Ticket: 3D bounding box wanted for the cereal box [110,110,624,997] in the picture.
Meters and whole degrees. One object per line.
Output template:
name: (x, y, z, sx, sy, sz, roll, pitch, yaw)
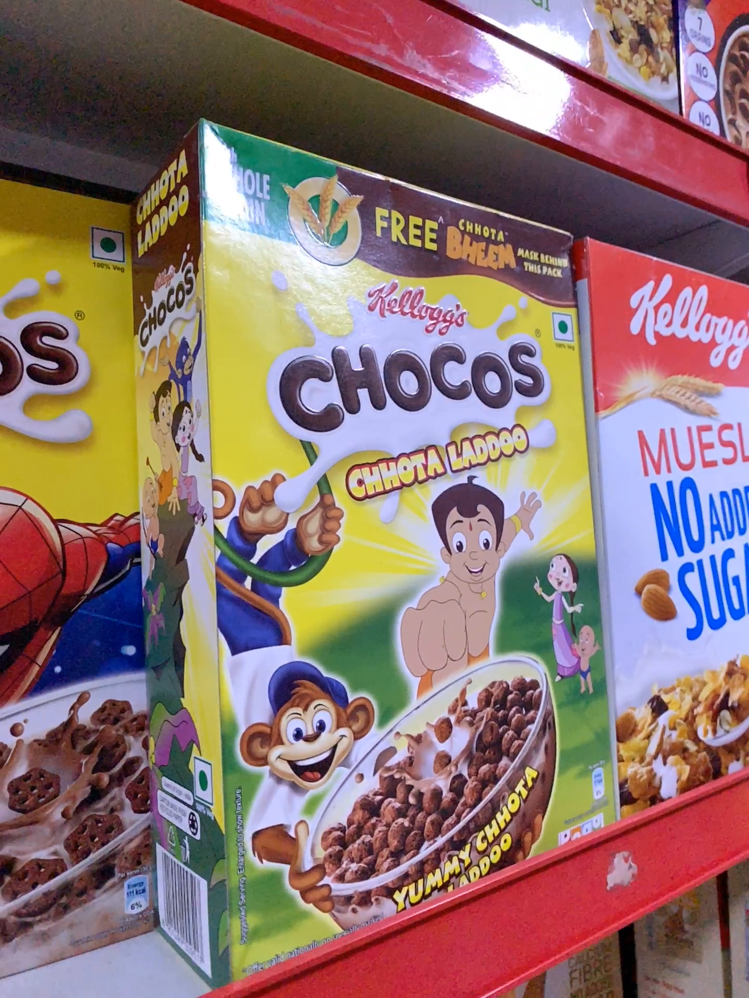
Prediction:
cereal box: (0.003, 0.016, 0.304, 0.180, 0.260, 0.070, 0, -5, -38)
